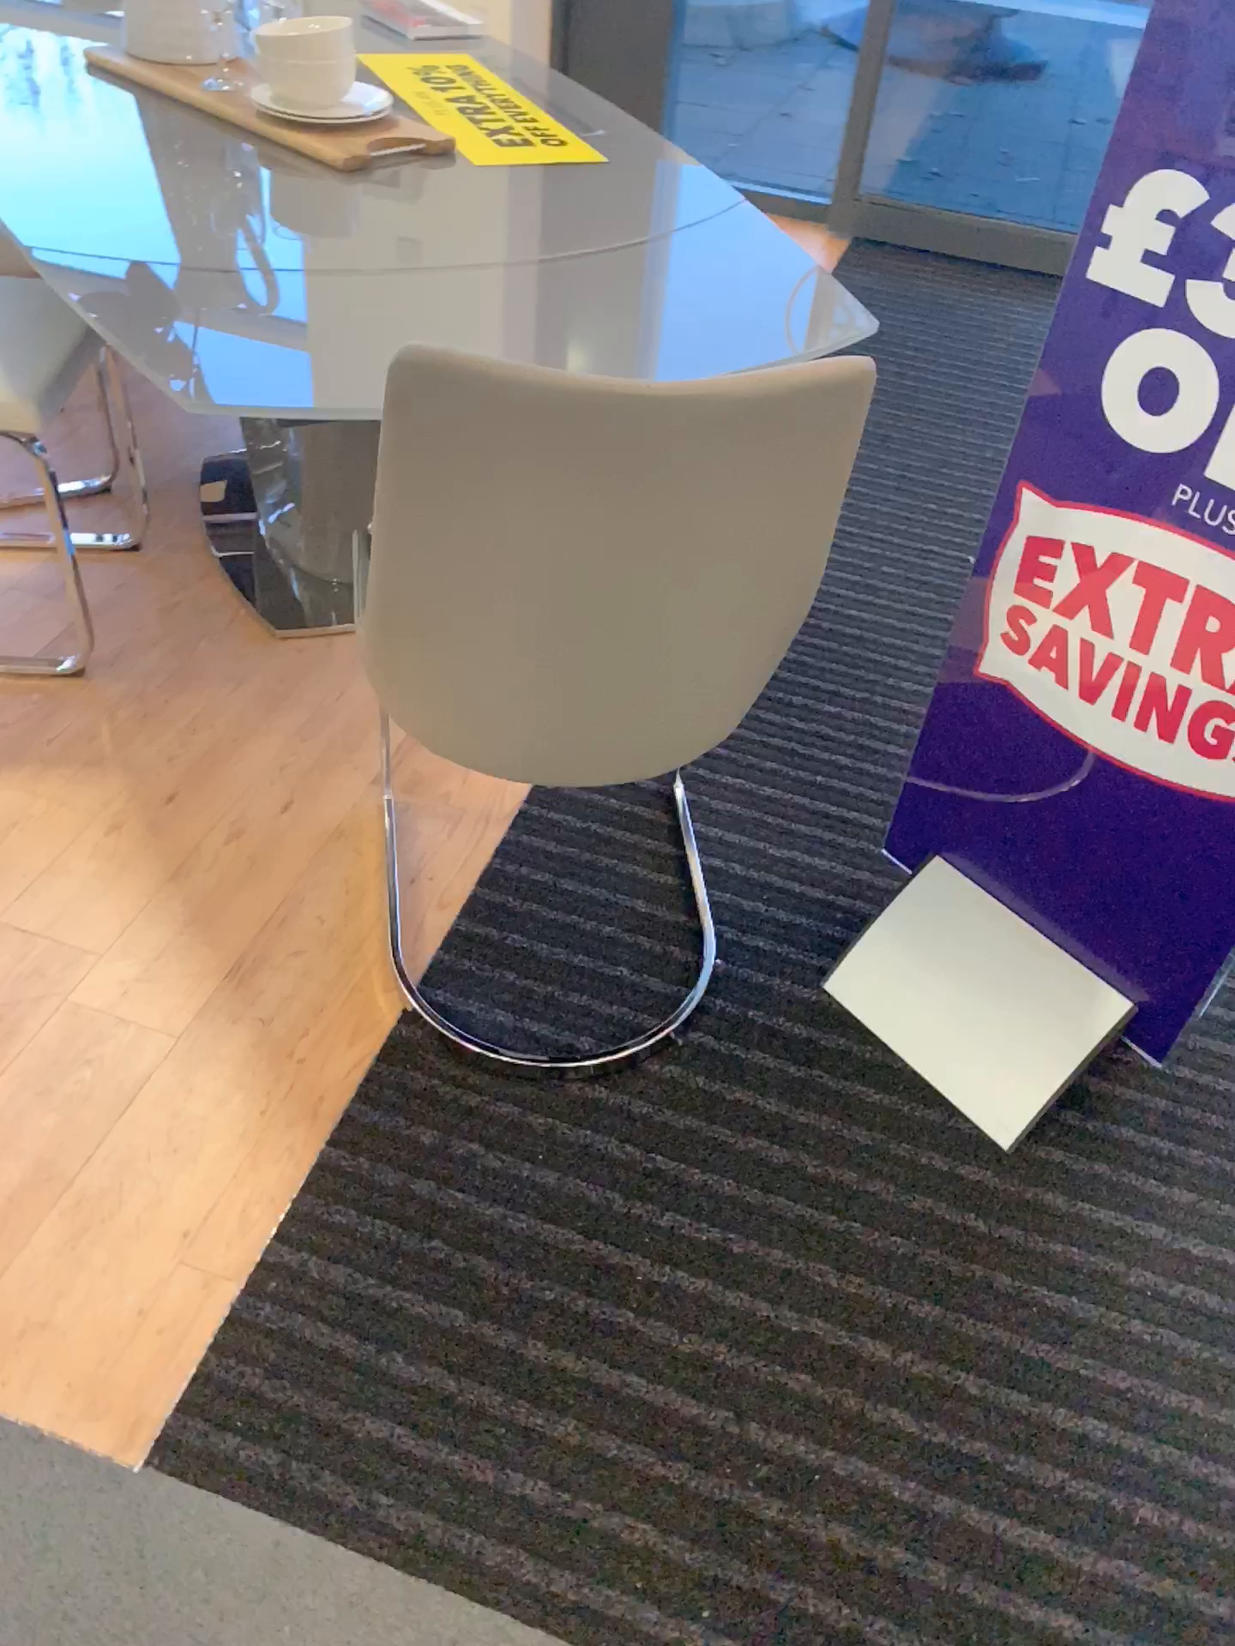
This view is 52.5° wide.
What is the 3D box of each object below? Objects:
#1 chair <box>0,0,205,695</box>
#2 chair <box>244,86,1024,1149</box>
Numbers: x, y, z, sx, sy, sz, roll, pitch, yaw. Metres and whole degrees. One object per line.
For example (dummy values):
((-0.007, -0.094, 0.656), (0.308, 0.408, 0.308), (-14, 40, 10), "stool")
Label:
((-0.989, -0.725, 1.690), (0.620, 0.931, 0.545), (2, 42, -5), "chair")
((-0.057, -0.207, 1.390), (0.530, 0.901, 0.686), (-1, 42, -9), "chair")
